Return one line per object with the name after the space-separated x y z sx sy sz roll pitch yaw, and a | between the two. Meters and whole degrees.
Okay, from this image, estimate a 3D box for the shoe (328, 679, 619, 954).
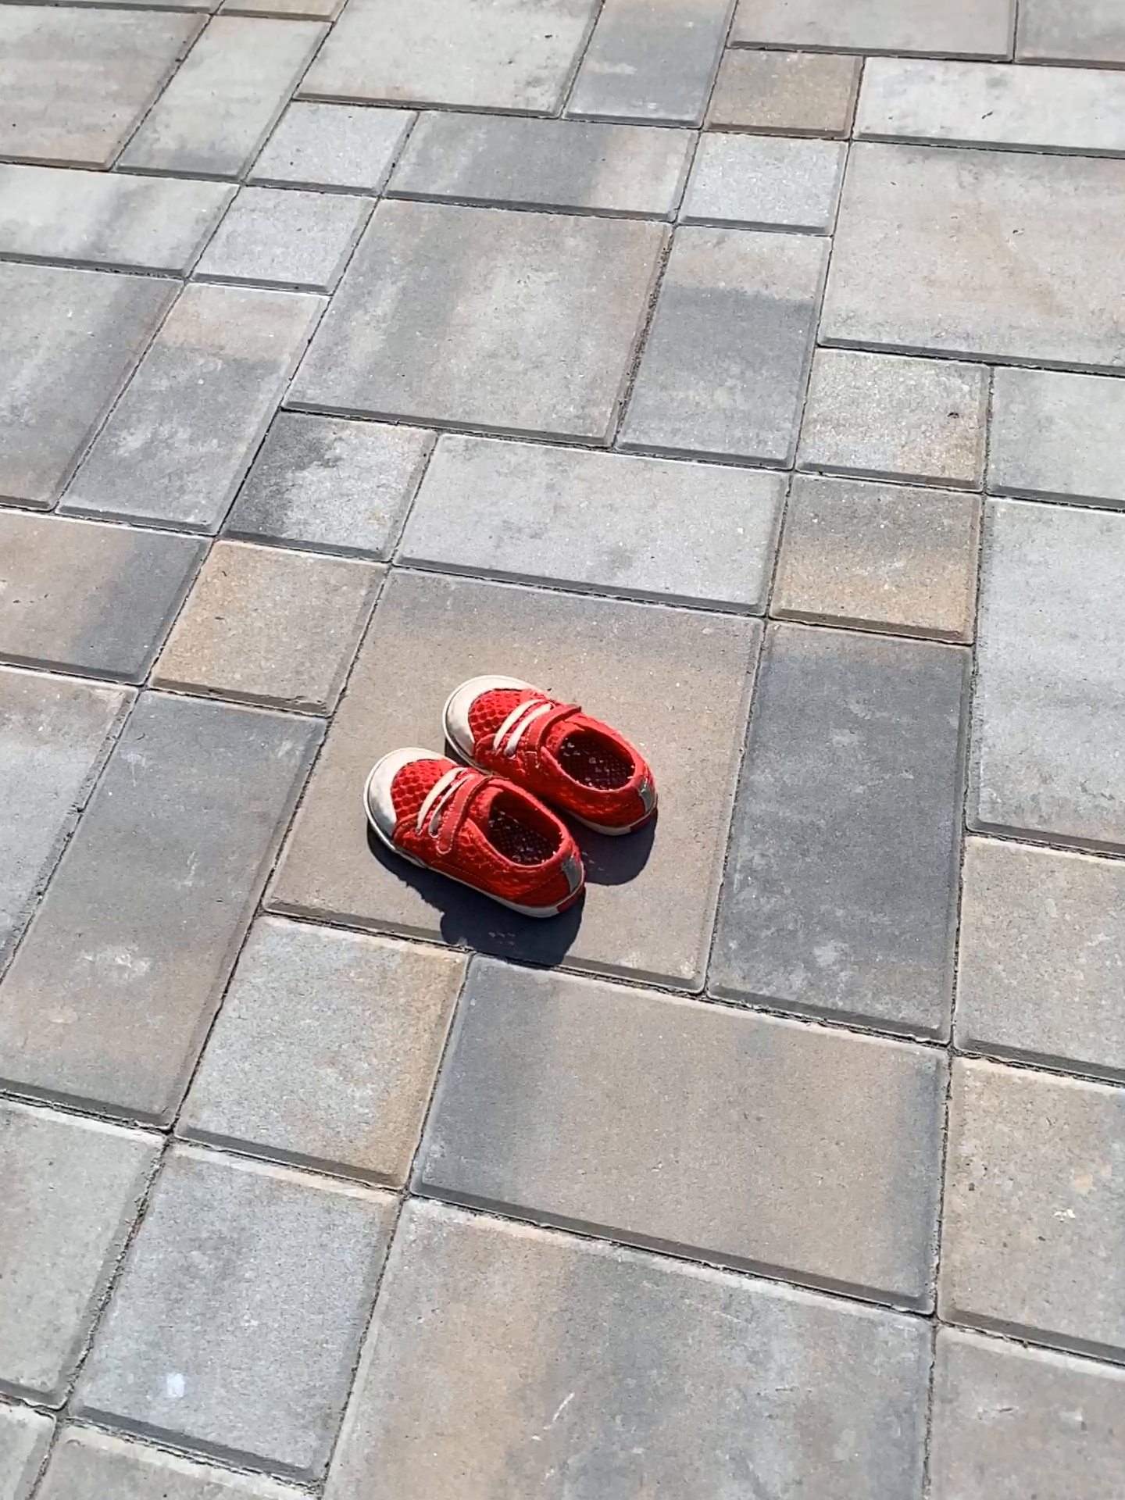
-0.057 0.046 0.799 0.170 0.100 0.090 27 65 18 | shoe

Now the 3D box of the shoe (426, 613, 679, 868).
-0.005 -0.007 0.811 0.160 0.100 0.070 32 67 20 | shoe
